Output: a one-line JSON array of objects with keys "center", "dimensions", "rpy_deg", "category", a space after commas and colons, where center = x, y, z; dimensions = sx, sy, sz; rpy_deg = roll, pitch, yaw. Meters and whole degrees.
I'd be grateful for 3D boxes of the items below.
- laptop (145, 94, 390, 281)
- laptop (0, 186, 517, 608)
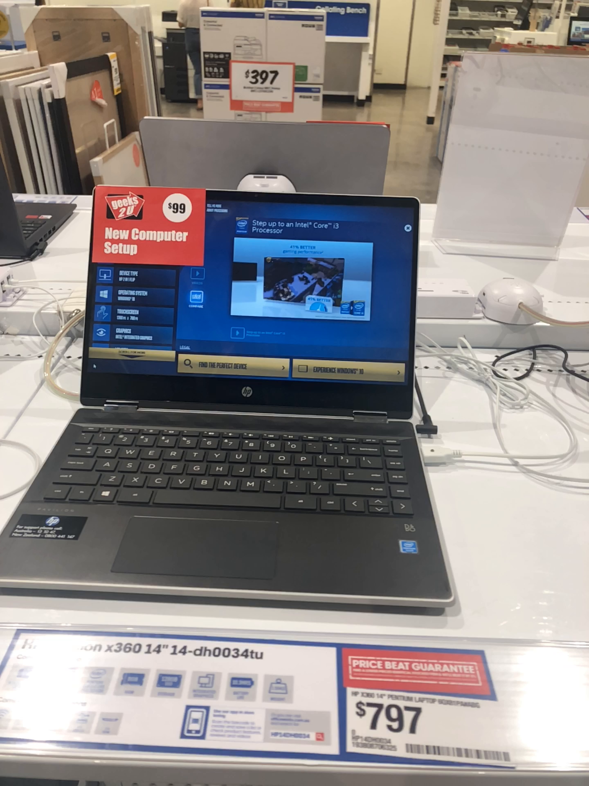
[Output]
[{"center": [-0.031, -0.337, 1.019], "dimensions": [0.306, 0.199, 0.358], "rpy_deg": [3, 30, 1], "category": "laptop"}, {"center": [-0.042, -0.030, 0.520], "dimensions": [0.315, 0.169, 0.341], "rpy_deg": [3, 31, 0], "category": "laptop"}]
